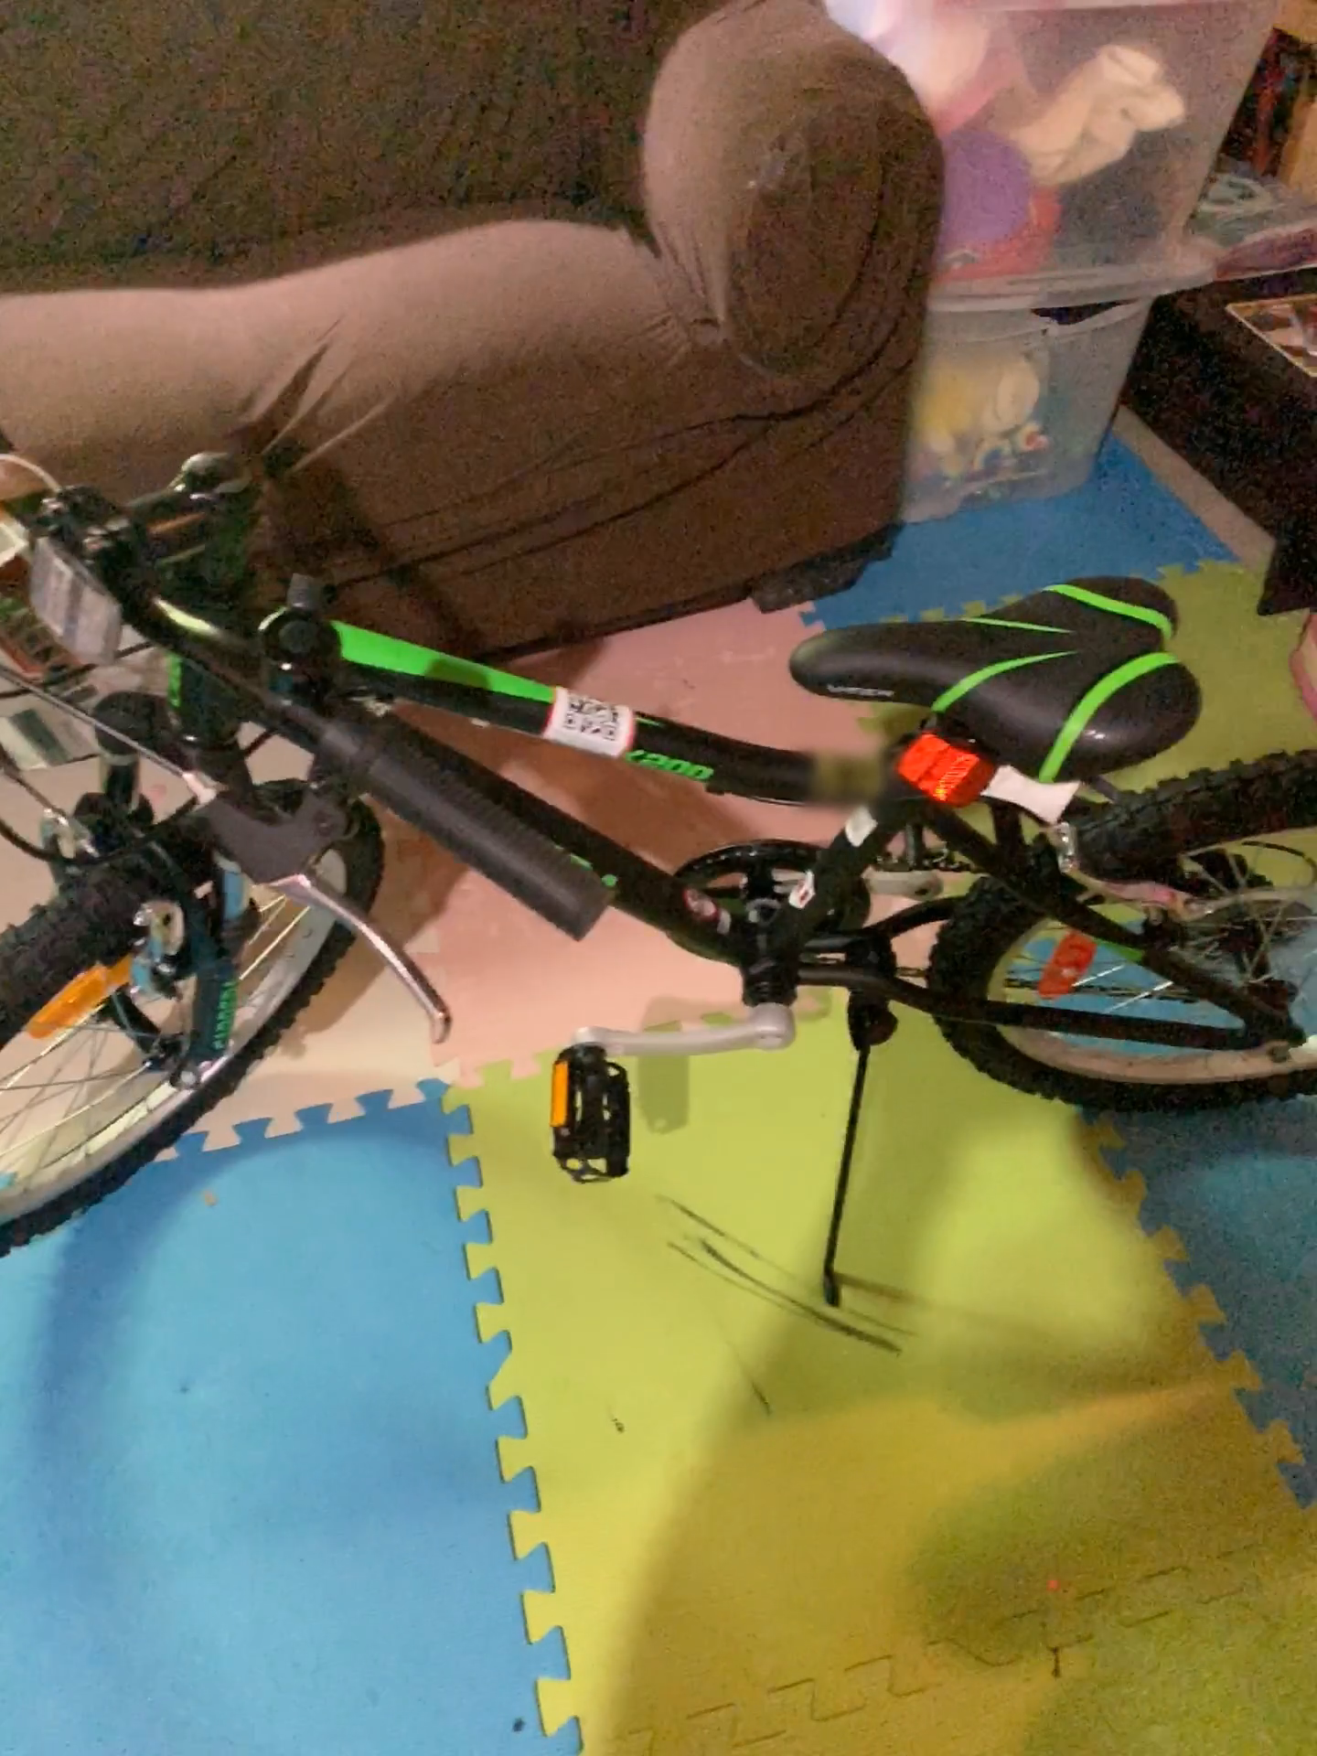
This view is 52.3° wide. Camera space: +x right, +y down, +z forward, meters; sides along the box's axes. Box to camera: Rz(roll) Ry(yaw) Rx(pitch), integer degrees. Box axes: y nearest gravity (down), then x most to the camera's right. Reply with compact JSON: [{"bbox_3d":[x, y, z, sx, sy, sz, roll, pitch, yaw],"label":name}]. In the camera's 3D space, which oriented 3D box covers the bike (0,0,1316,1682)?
[{"bbox_3d":[0.039,0.001,0.885,1.268,0.841,0.536,-9,47,-2],"label":"bike"}]
